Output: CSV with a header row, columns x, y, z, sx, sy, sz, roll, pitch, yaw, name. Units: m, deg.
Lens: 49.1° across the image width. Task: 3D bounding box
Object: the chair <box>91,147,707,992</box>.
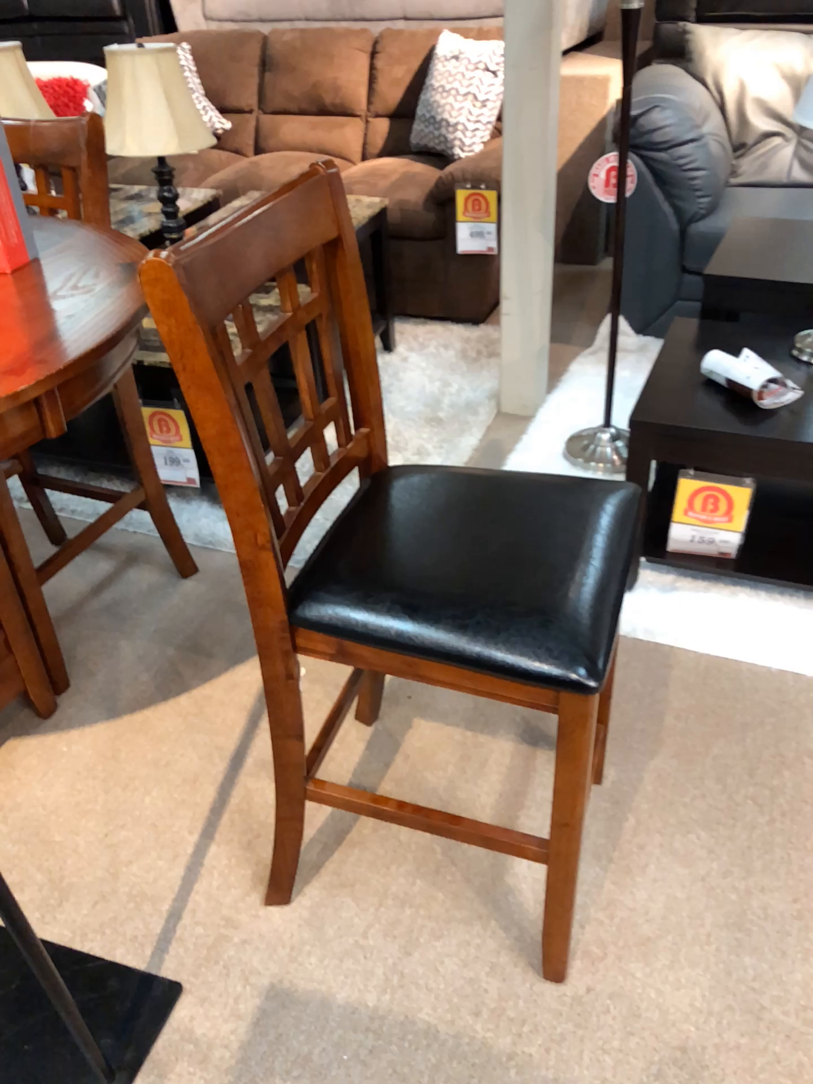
x,y,z,sx,sy,sz,roll,pitch,yaw,name
0.049,0.041,1.193,0.521,0.963,0.473,9,35,16,chair
